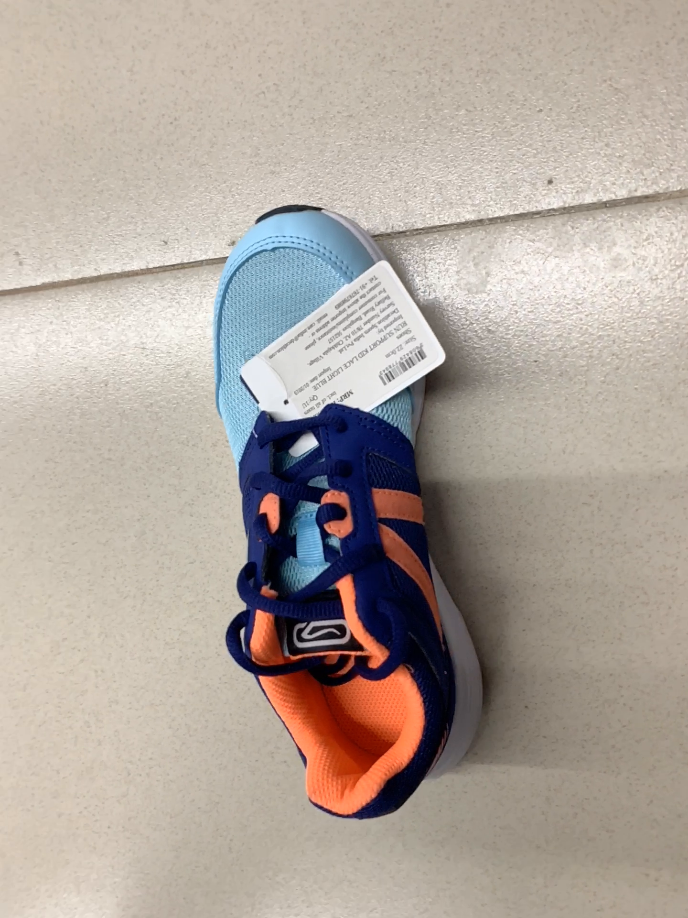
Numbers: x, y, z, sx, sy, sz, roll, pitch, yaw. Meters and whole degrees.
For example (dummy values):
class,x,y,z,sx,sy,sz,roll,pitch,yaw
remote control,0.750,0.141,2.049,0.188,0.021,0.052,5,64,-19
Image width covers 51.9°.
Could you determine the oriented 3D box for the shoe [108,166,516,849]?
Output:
class,x,y,z,sx,sy,sz,roll,pitch,yaw
shoe,-0.005,0.024,0.297,0.100,0.080,0.240,-12,93,19
